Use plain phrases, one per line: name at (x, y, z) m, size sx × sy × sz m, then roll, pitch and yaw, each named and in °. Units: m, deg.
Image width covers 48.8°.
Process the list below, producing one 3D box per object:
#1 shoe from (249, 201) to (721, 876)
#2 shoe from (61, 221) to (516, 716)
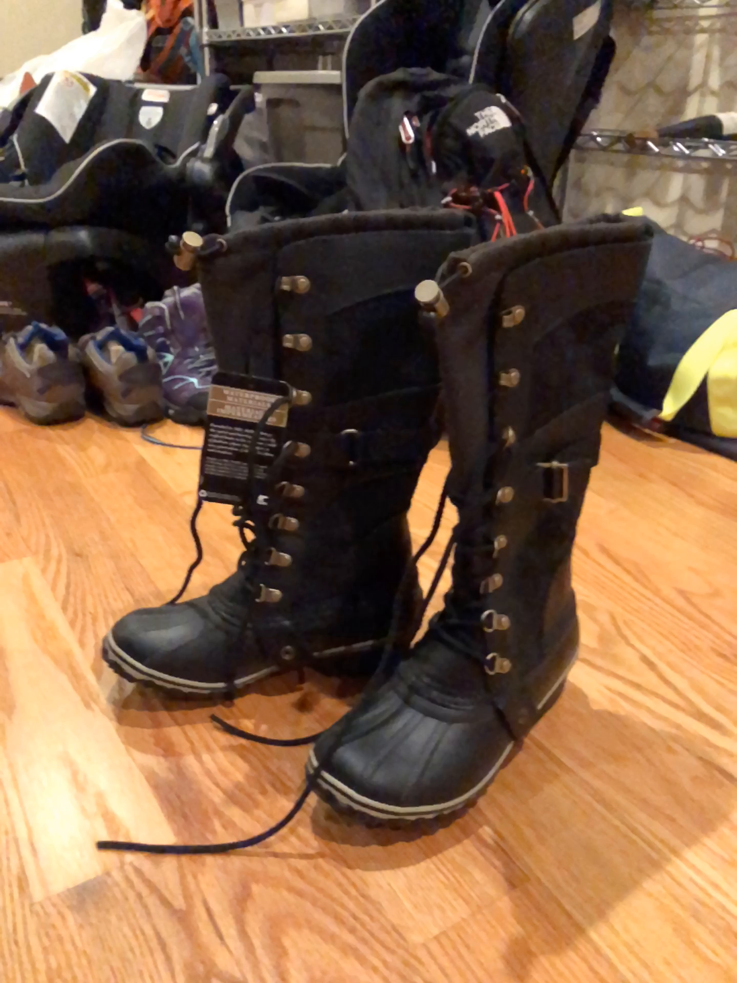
shoe at (0.070, 0.010, 0.490) m, size 0.261 × 0.328 × 0.100 m, roll -20°, pitch 33°, yaw -39°
shoe at (-0.053, -0.020, 0.567) m, size 0.260 × 0.308 × 0.100 m, roll -6°, pitch 26°, yaw -15°
